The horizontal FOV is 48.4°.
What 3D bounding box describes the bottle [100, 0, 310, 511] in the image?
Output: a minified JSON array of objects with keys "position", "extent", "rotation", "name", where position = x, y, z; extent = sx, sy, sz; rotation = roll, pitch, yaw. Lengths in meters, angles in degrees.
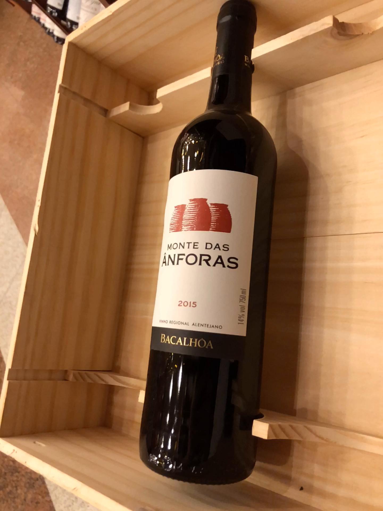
[{"position":[0.013,-0.026,0.277],"extent":[0.080,0.060,0.320],"rotation":[1,81,42],"name":"bottle"}]
